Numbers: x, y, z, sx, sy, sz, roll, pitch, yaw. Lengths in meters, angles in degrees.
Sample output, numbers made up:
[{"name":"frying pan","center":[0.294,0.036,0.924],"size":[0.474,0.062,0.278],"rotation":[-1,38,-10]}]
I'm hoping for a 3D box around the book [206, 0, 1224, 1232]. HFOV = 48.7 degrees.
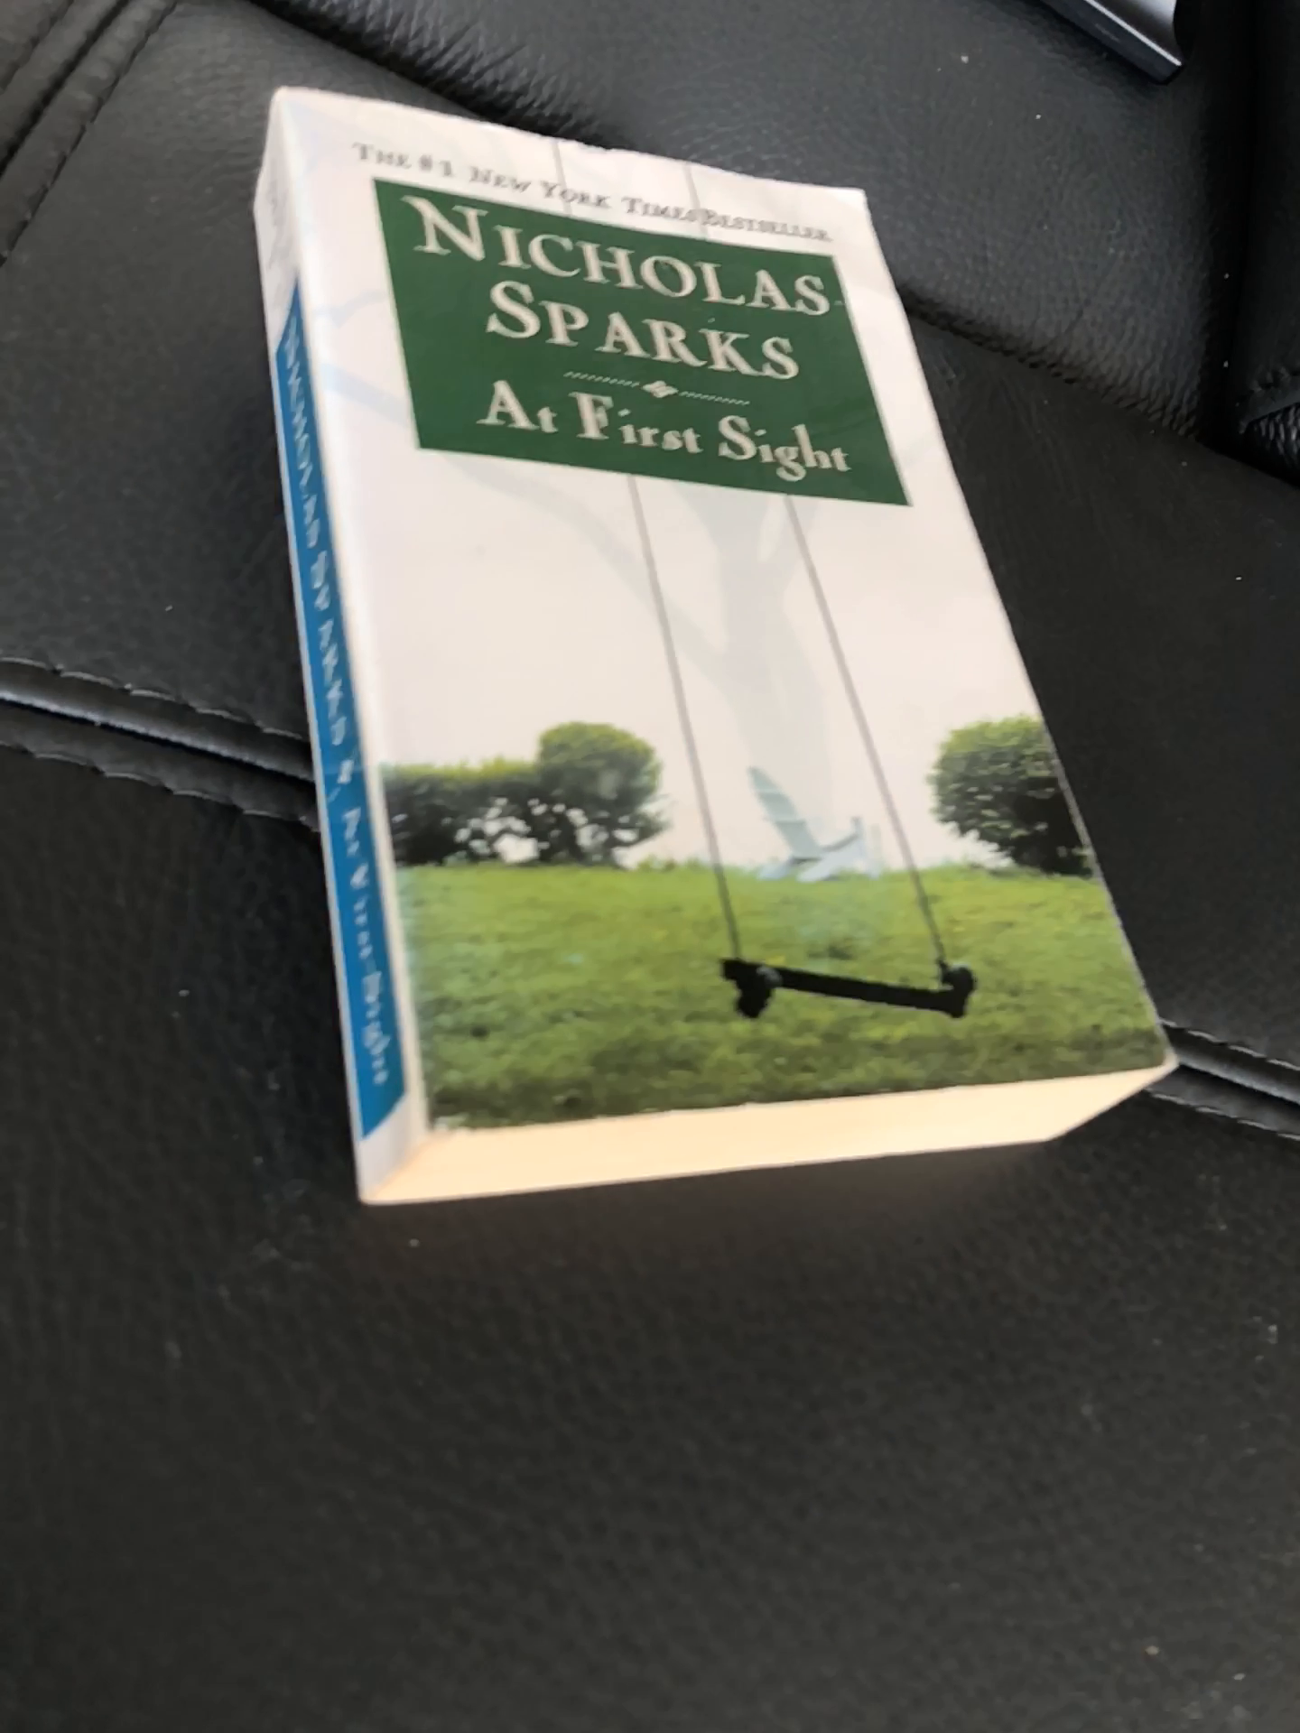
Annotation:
[{"name":"book","center":[0.001,-0.048,0.223],"size":[0.120,0.030,0.190],"rotation":[0,63,-26]}]
